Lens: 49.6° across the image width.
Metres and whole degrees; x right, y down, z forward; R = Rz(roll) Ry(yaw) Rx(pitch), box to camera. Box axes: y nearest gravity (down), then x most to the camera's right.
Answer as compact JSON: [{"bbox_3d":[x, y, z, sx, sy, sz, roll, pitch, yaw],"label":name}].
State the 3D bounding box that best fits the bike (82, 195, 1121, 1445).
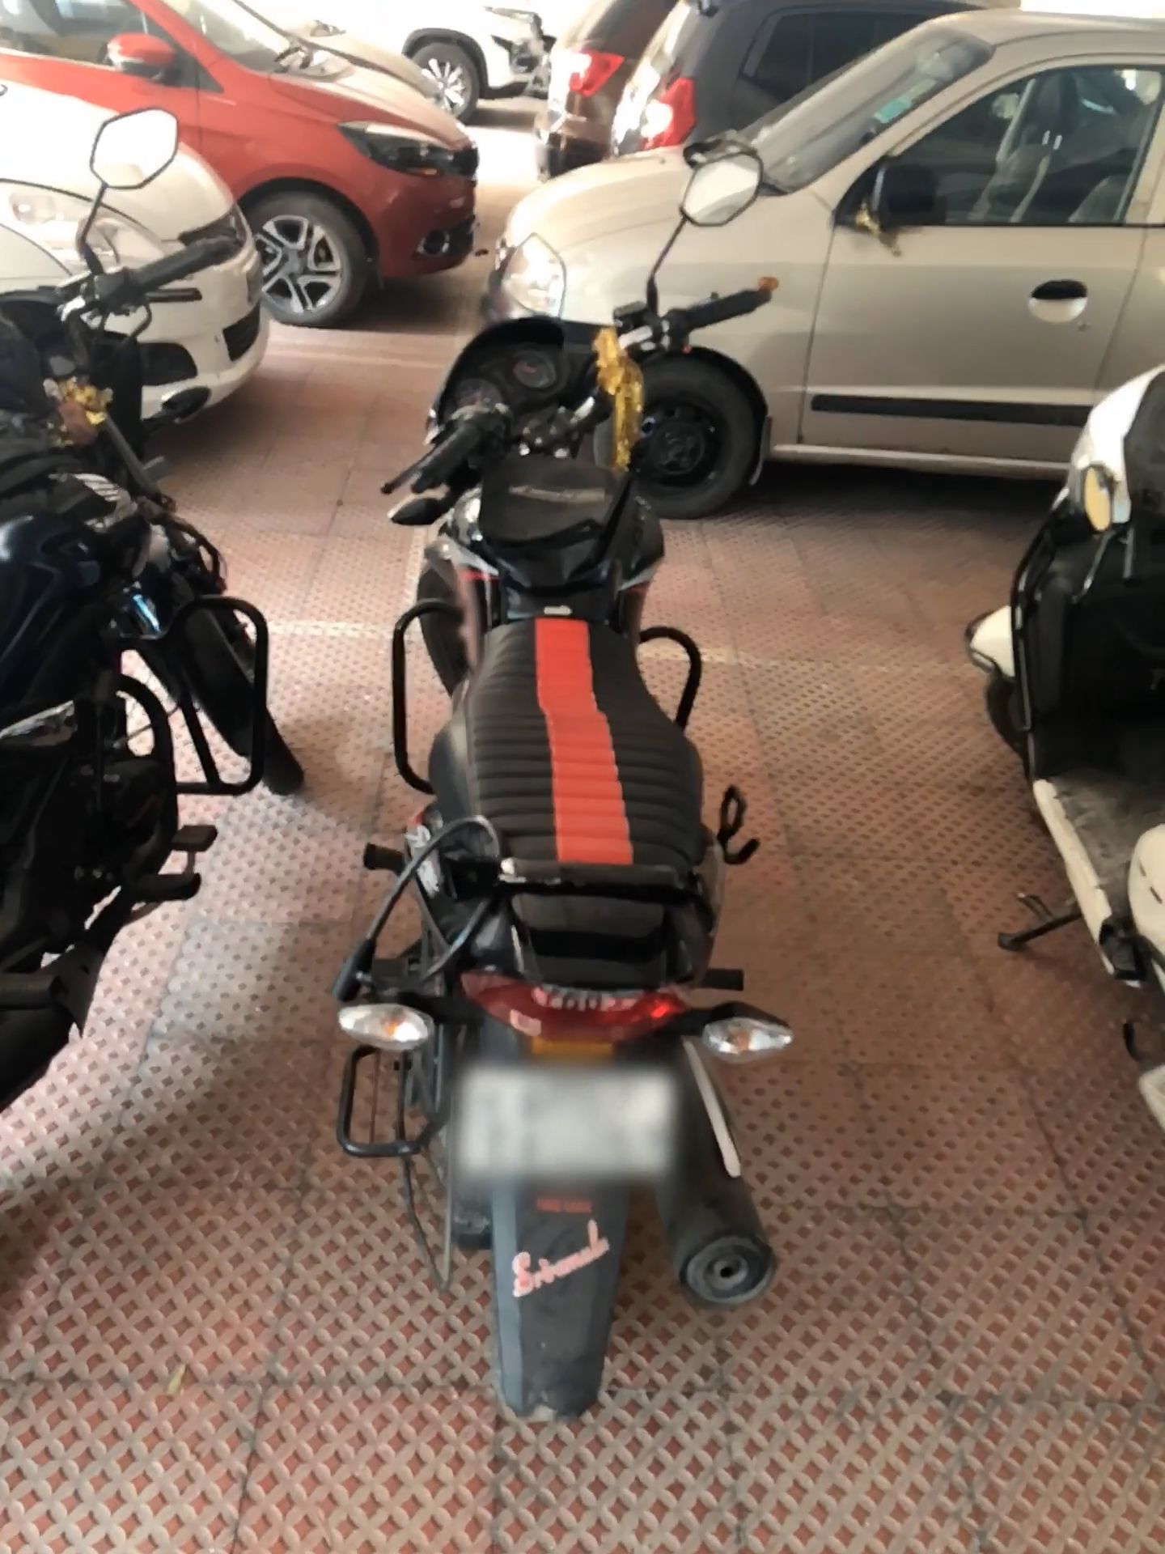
[{"bbox_3d":[-0.177,-0.100,1.803,0.746,1.010,1.562,-2,34,-11],"label":"bike"}]
